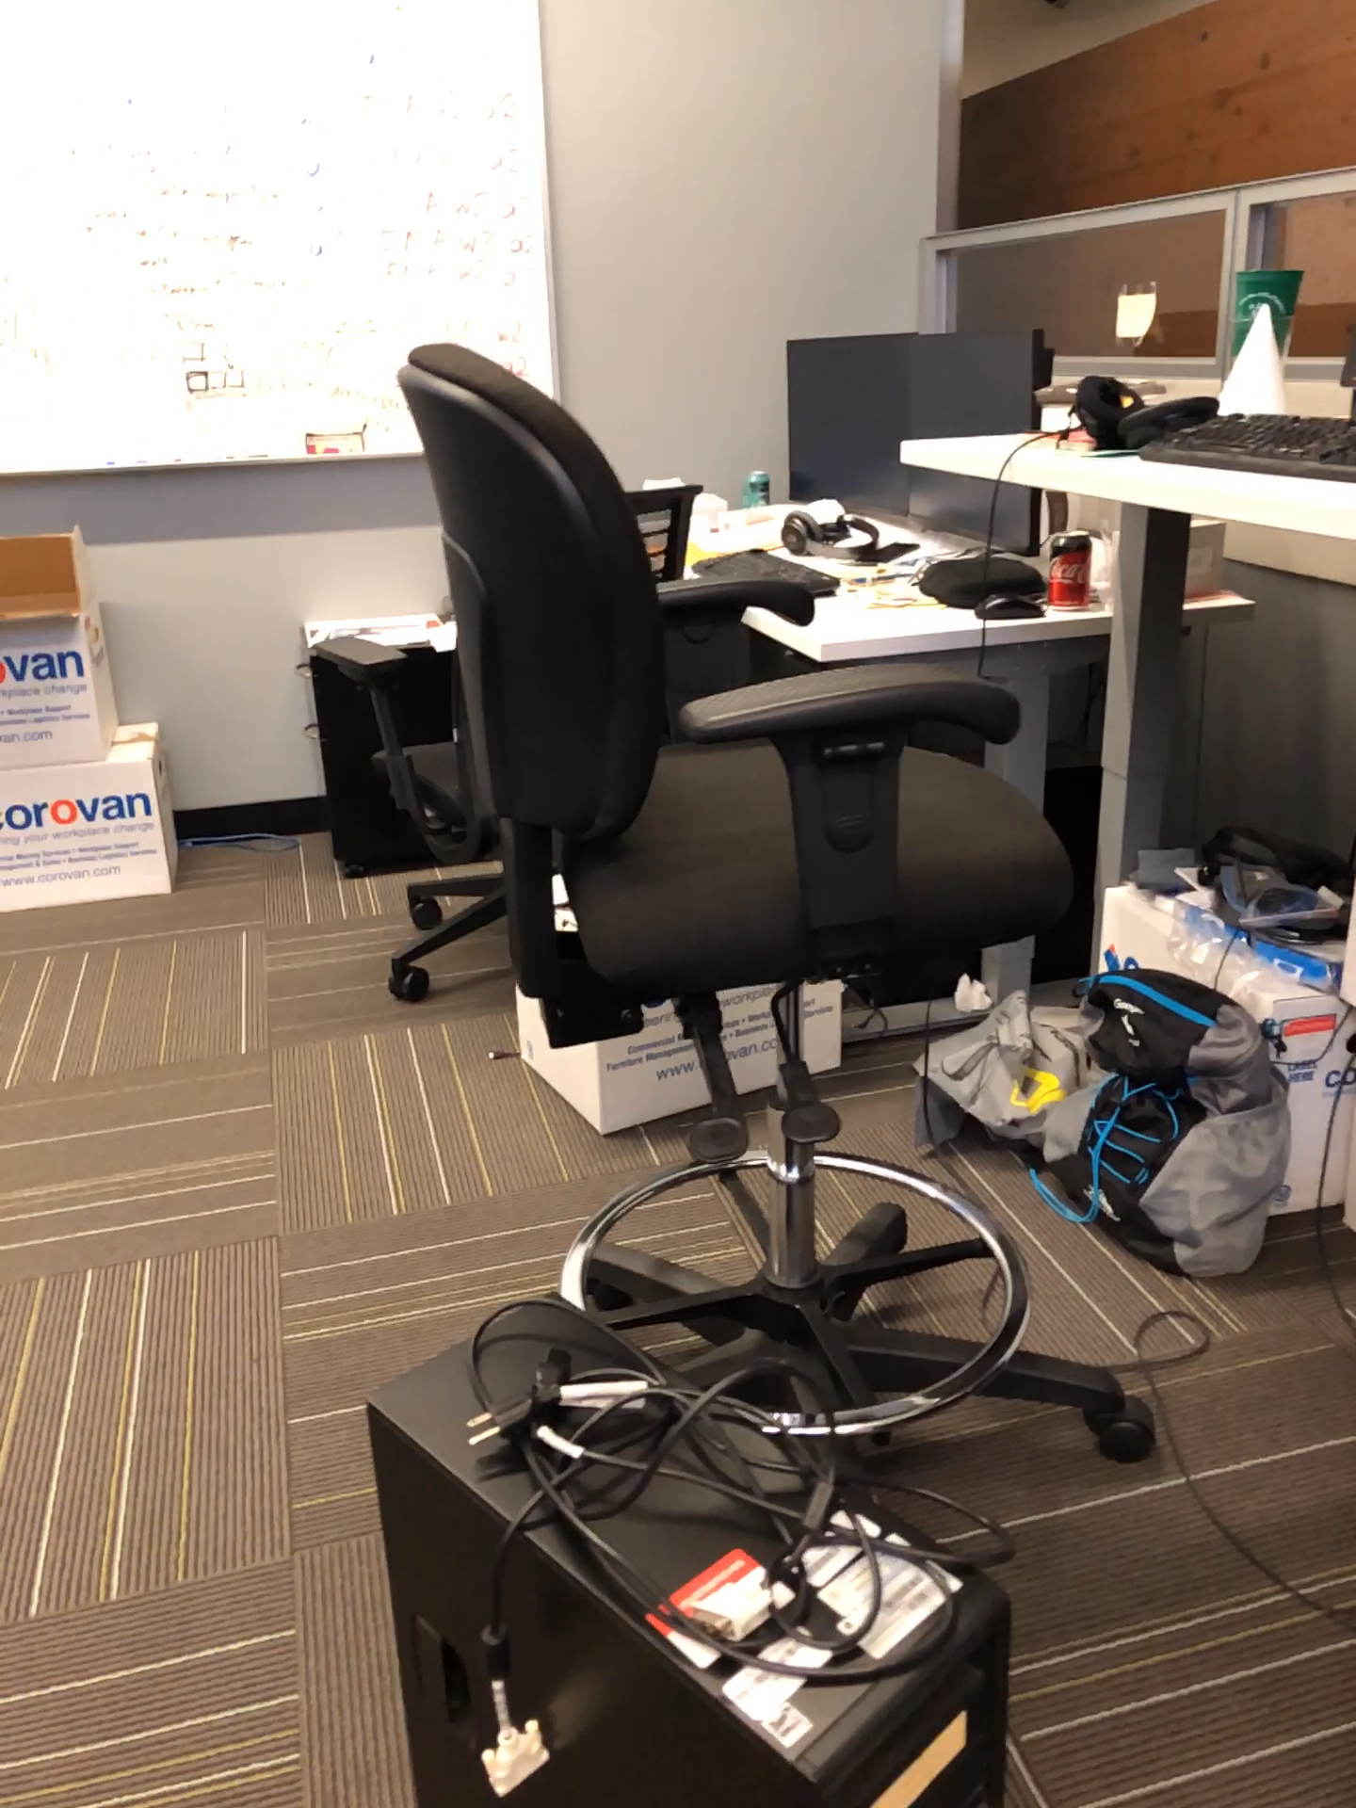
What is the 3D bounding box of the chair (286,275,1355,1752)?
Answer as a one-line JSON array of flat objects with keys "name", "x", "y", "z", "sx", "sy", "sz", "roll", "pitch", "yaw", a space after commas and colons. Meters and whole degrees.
[{"name": "chair", "x": 0.091, "y": 0.041, "z": 1.417, "sx": 0.730, "sy": 1.135, "sz": 0.643, "roll": -6, "pitch": 21, "yaw": -9}]
